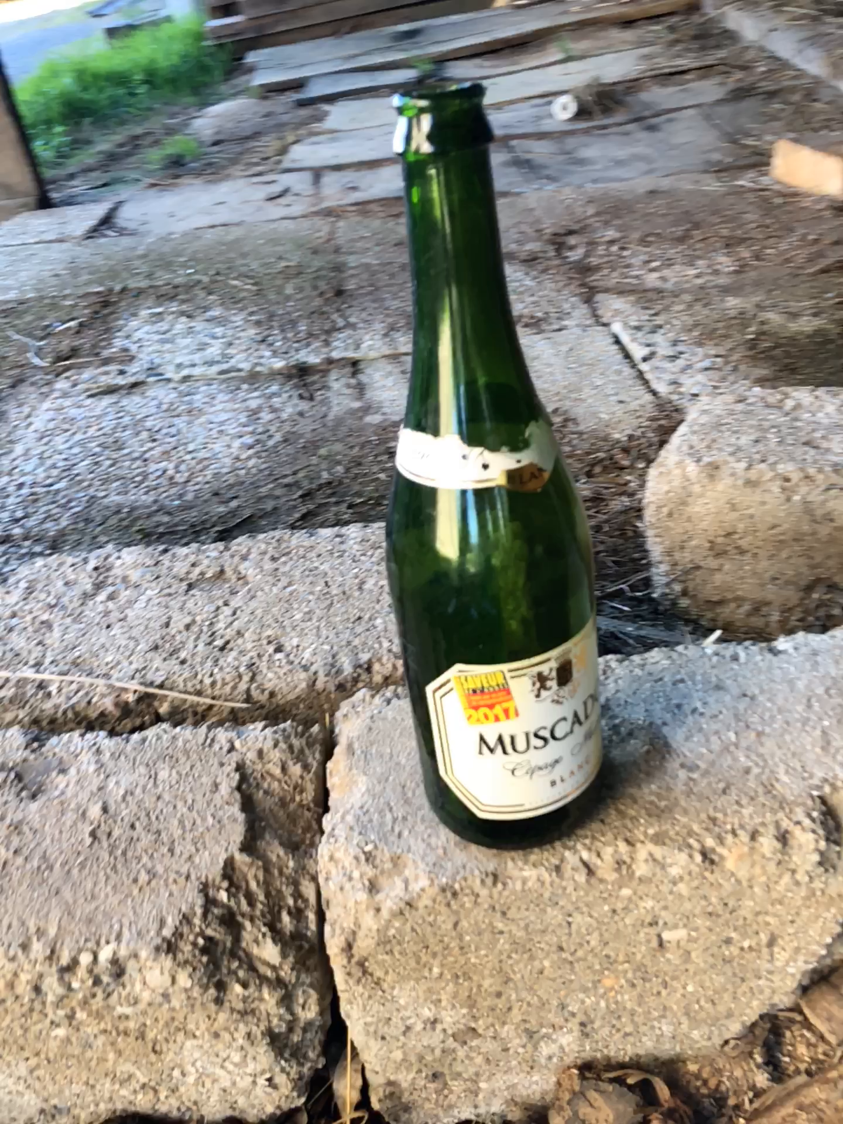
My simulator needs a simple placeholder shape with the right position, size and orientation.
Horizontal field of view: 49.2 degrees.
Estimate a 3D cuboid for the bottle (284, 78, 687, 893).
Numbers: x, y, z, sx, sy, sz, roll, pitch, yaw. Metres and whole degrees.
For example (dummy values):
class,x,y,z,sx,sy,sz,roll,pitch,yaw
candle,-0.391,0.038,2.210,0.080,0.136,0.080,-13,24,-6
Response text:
class,x,y,z,sx,sy,sz,roll,pitch,yaw
bottle,0.028,-0.017,0.356,0.090,0.288,0.090,-4,33,3
